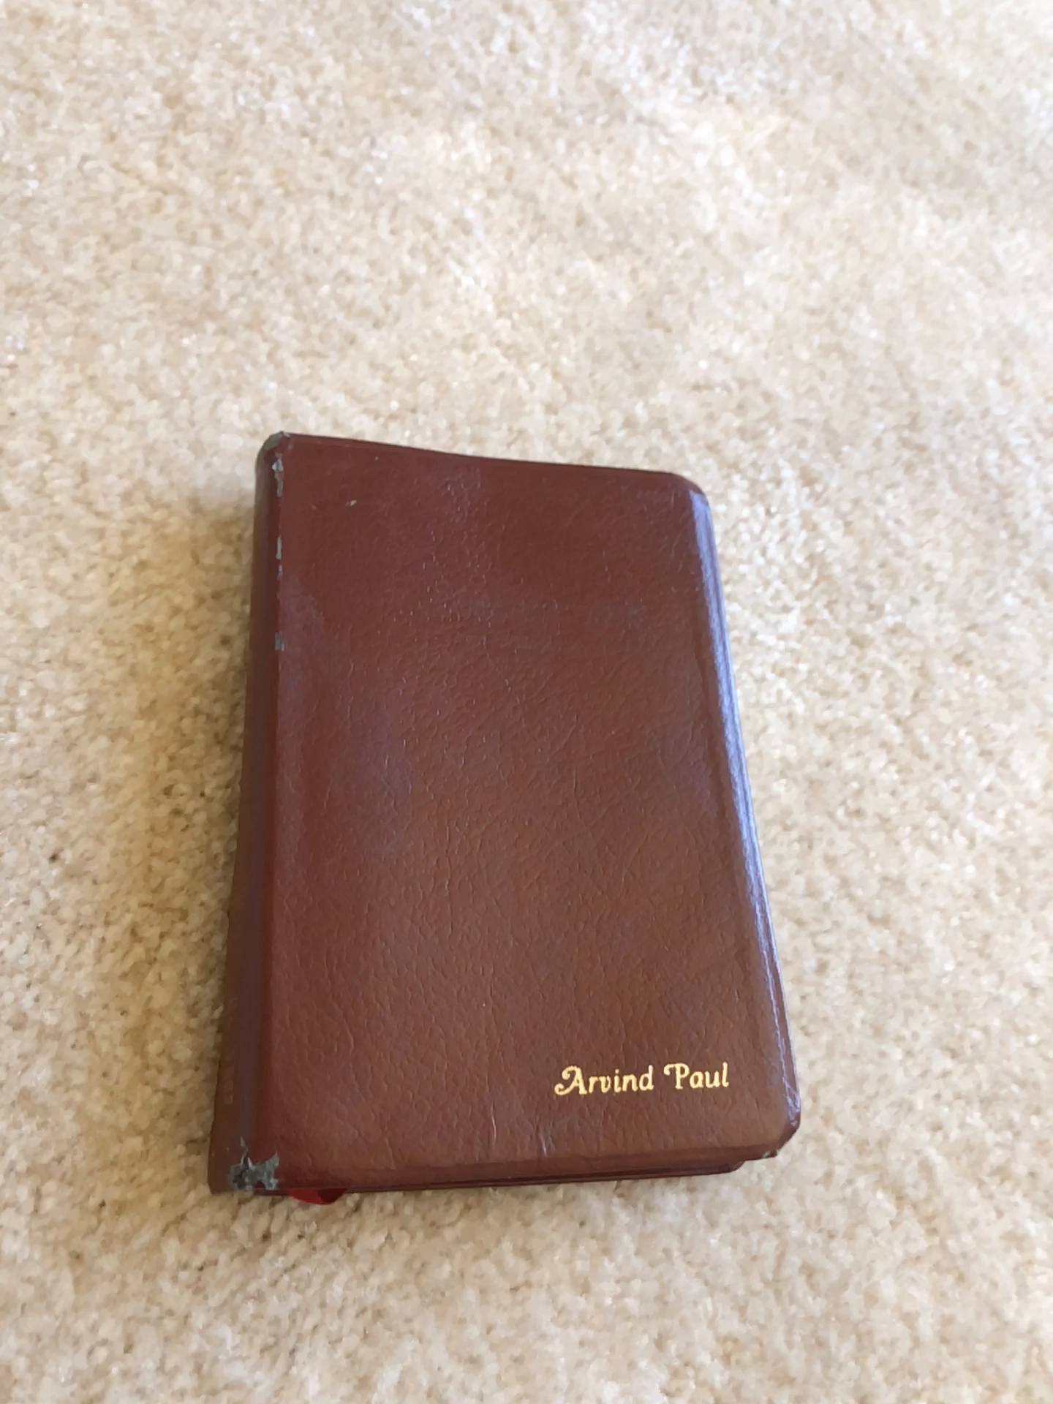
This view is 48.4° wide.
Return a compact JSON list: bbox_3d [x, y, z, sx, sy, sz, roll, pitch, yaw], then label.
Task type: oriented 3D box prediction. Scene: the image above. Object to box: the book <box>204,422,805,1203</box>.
[{"bbox_3d":[-0.010,0.021,0.258,0.110,0.040,0.157,2,66,-15],"label":"book"}]
